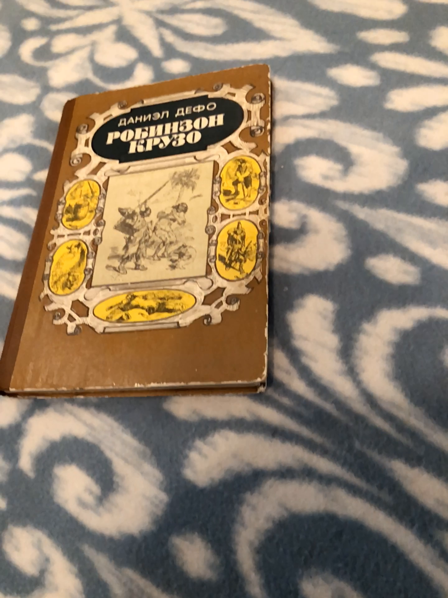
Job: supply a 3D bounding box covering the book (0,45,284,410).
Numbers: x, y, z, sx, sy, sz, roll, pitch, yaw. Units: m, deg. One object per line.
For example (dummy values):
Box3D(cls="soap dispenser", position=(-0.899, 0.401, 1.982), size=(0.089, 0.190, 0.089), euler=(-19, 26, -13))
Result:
Box3D(cls="book", position=(-0.052, -0.053, 0.320), size=(0.178, 0.024, 0.243), euler=(-4, 63, 15))
